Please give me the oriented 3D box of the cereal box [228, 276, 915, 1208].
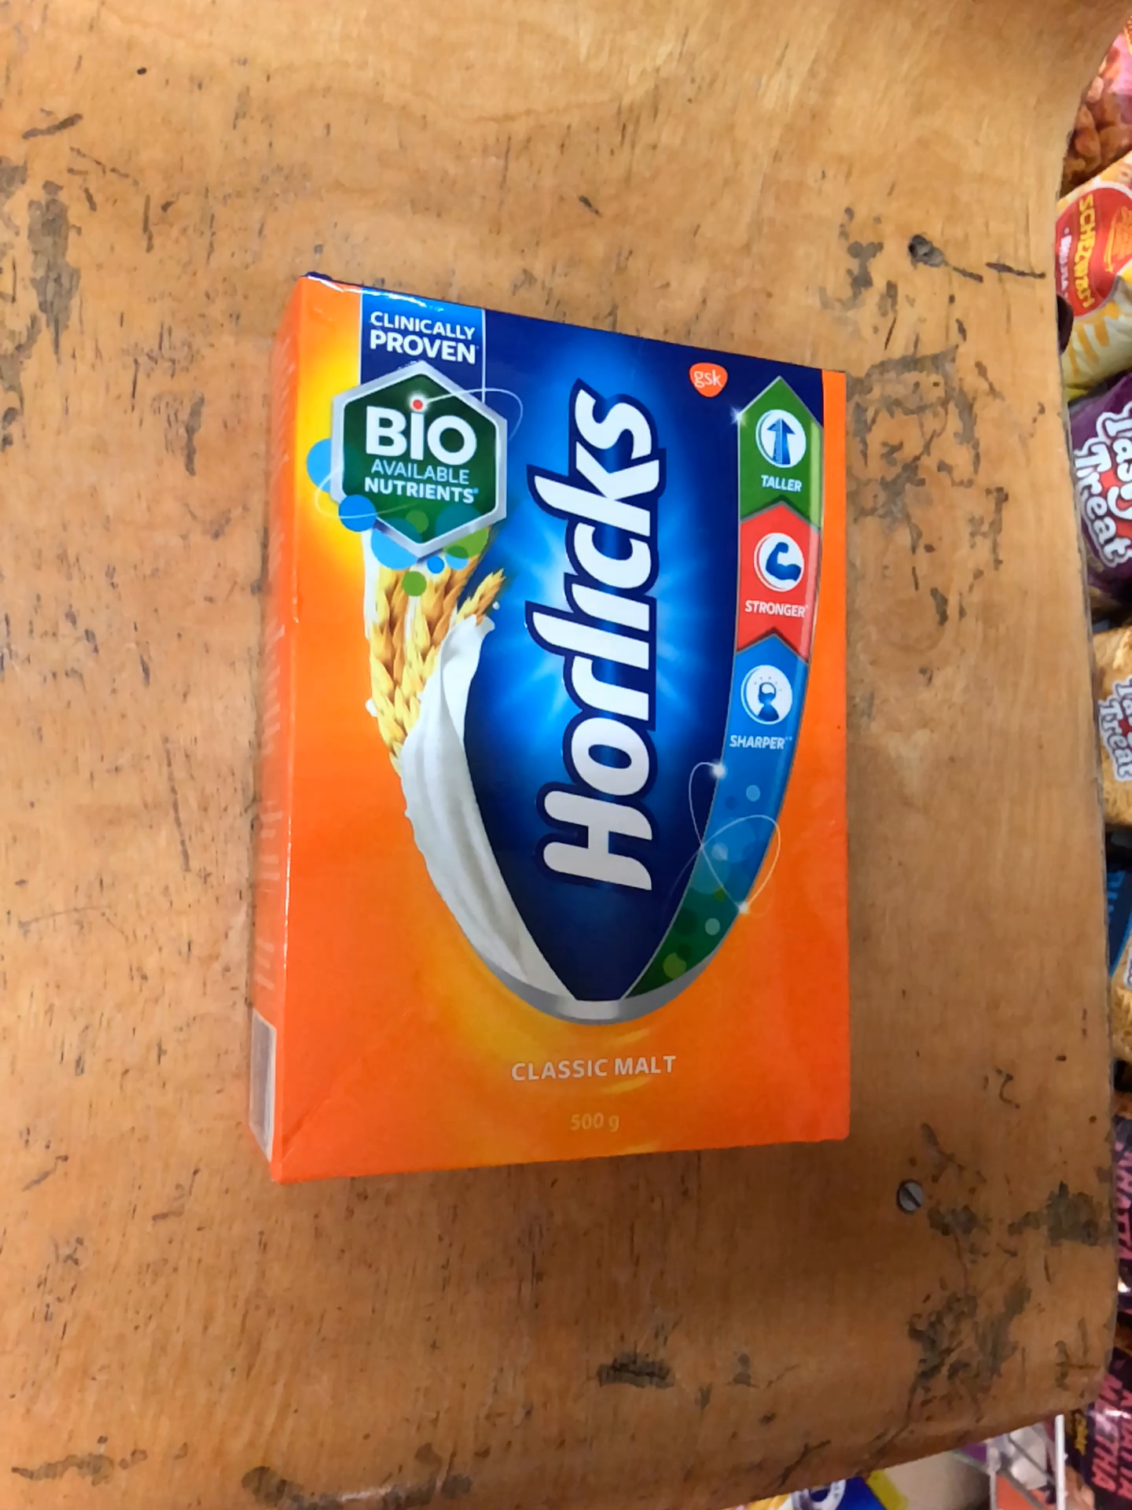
[{"bbox_3d":[-0.001,0.001,0.306,0.140,0.080,0.180,3,88,-22],"label":"cereal box"}]
